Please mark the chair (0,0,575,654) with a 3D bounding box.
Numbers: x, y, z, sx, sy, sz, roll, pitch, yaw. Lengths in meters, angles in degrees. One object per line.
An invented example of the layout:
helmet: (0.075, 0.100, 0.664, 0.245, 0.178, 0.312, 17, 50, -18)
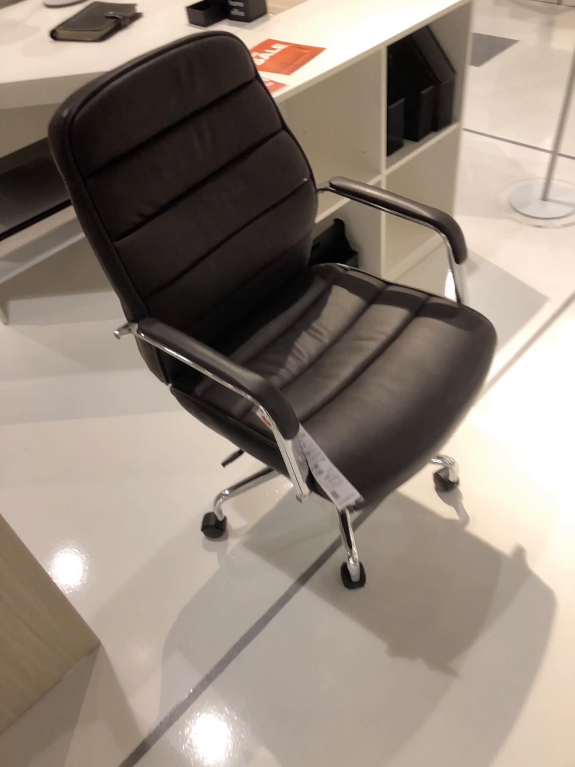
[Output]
chair: (0.060, -0.125, 1.182, 0.572, 0.973, 0.652, 28, 56, 31)
